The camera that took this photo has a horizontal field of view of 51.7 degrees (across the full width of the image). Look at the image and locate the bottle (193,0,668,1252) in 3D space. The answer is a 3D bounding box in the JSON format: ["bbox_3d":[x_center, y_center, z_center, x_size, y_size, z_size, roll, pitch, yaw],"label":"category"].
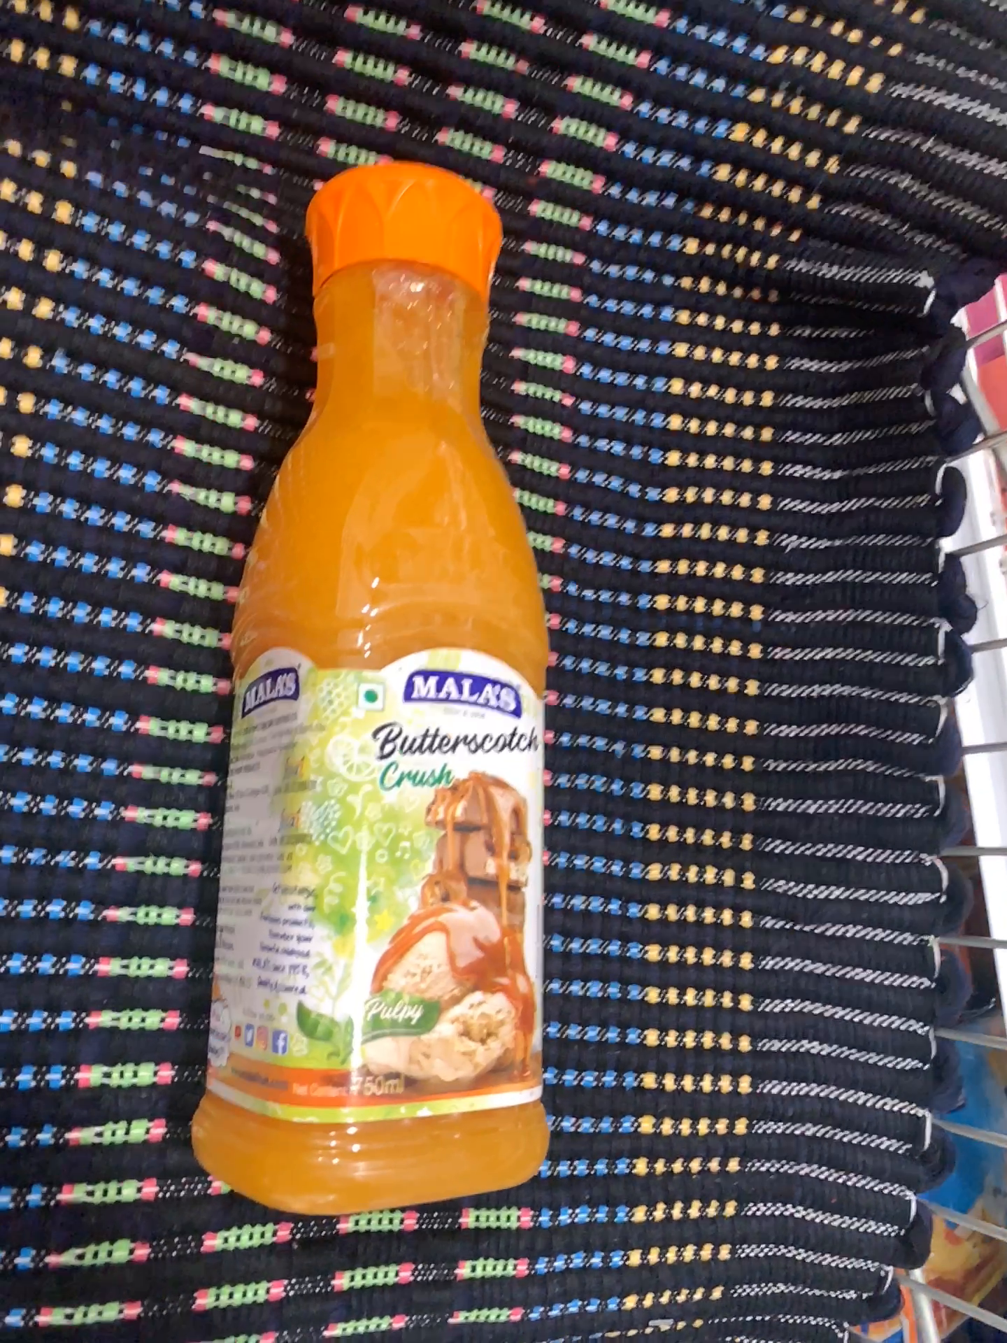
[{"bbox_3d":[-0.019,-0.019,0.236,0.070,0.060,0.250,10,69,-32],"label":"bottle"}]
